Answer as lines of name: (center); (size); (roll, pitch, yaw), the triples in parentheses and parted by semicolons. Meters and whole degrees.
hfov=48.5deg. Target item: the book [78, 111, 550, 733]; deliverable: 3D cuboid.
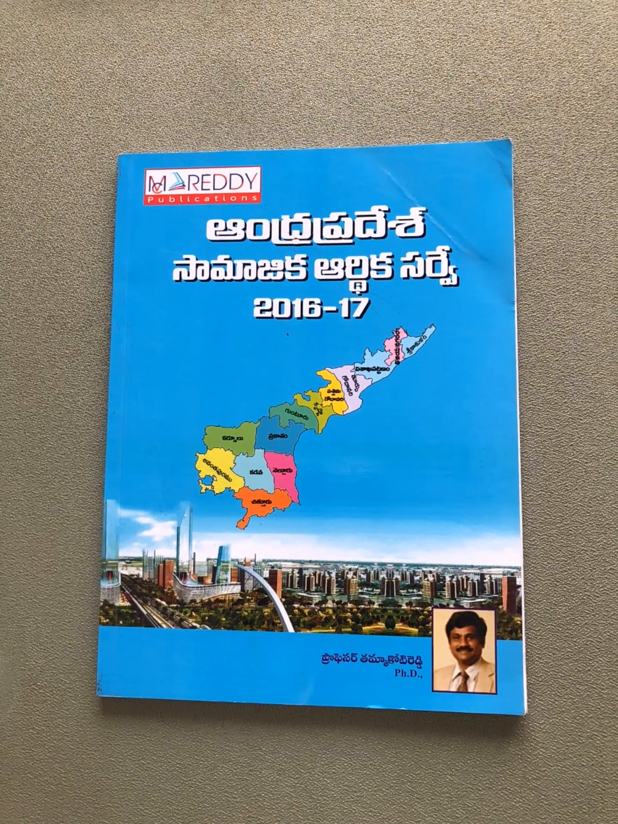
book: (0.002, -0.001, 0.282); (0.180, 0.020, 0.240); (0, 84, 5)
